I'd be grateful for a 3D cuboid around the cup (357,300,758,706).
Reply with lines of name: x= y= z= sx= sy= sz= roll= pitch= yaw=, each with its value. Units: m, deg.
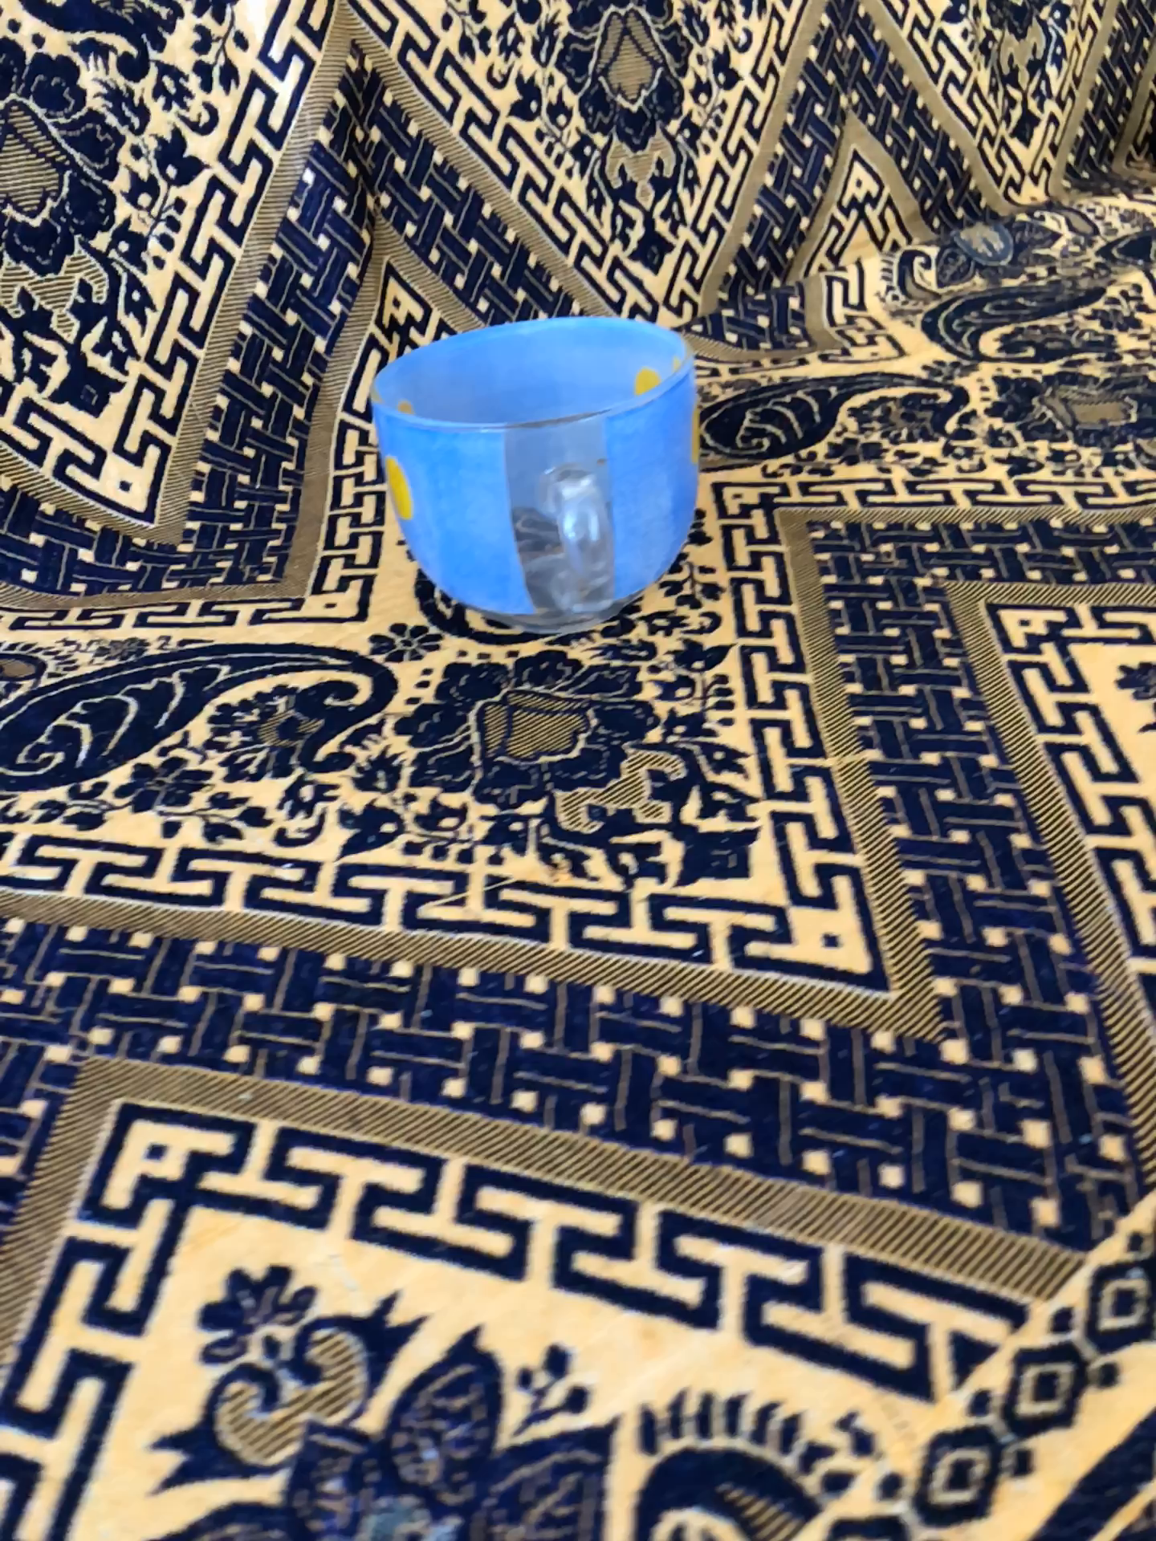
cup: x=-0.013 y=-0.095 z=0.421 sx=0.108 sy=0.072 sz=0.139 roll=-7 pitch=36 yaw=-6
